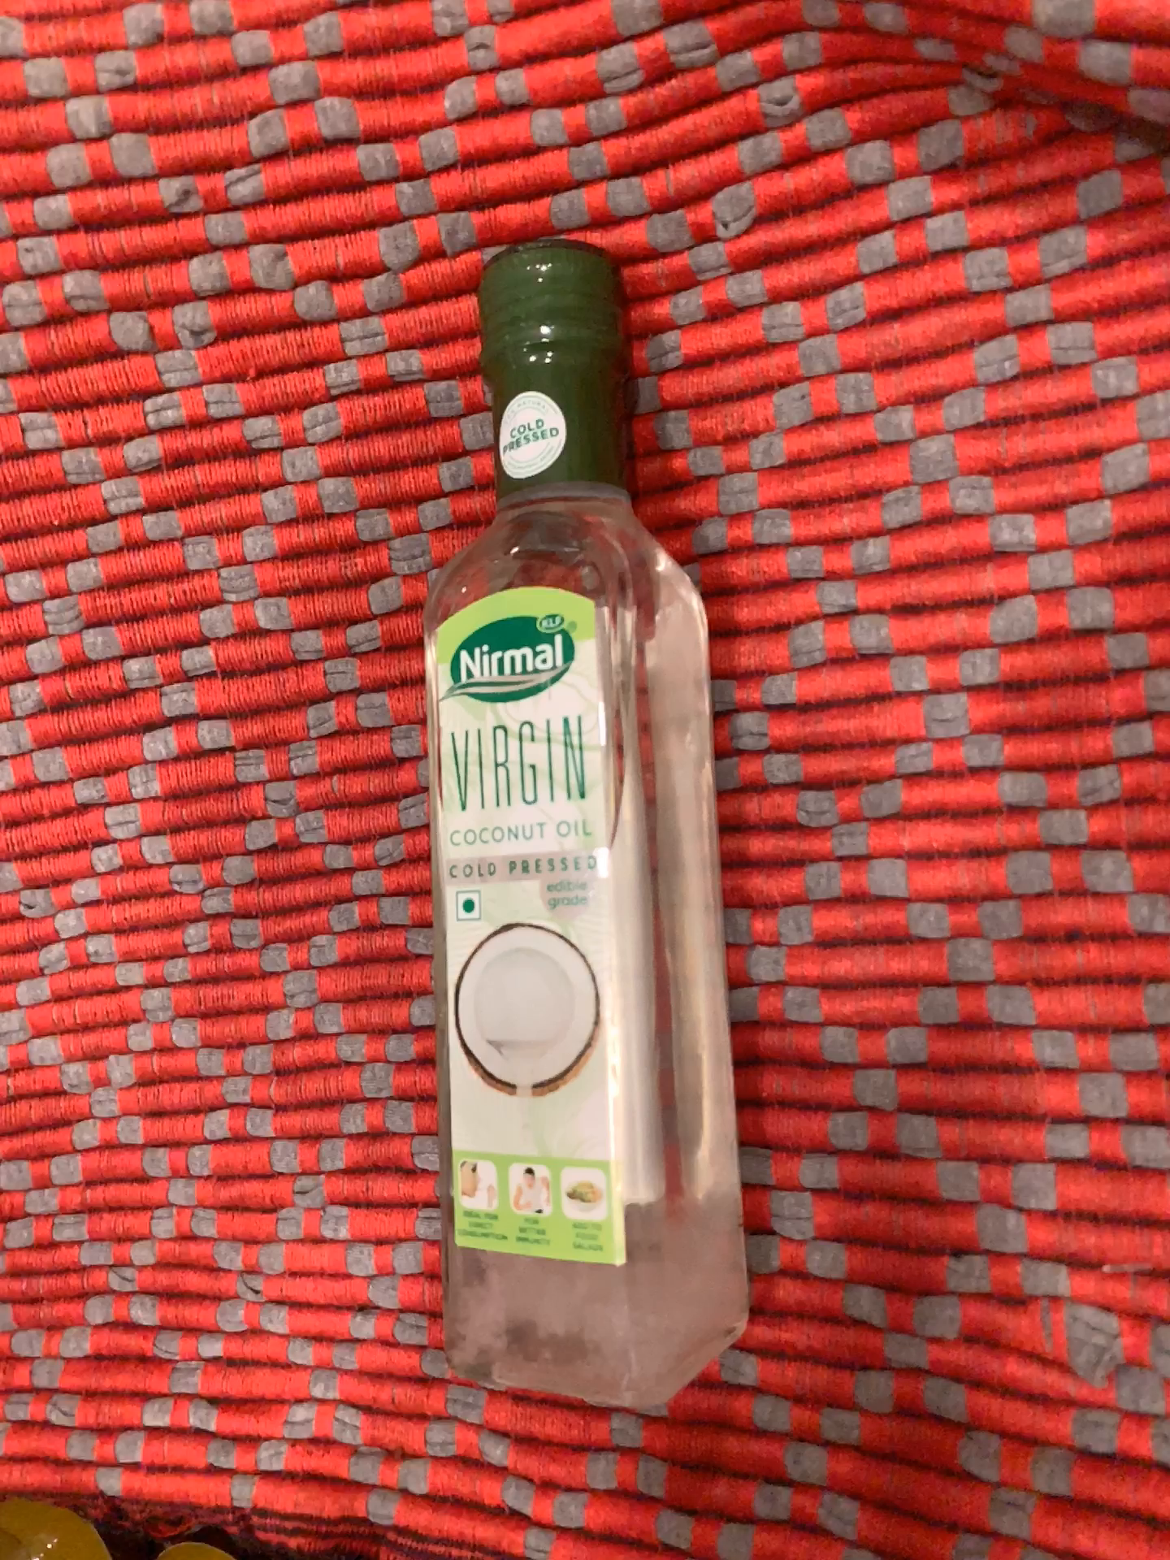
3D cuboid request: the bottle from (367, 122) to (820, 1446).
[{"bbox_3d":[0.001,-0.002,0.238,0.060,0.060,0.220,-6,81,28],"label":"bottle"}]
